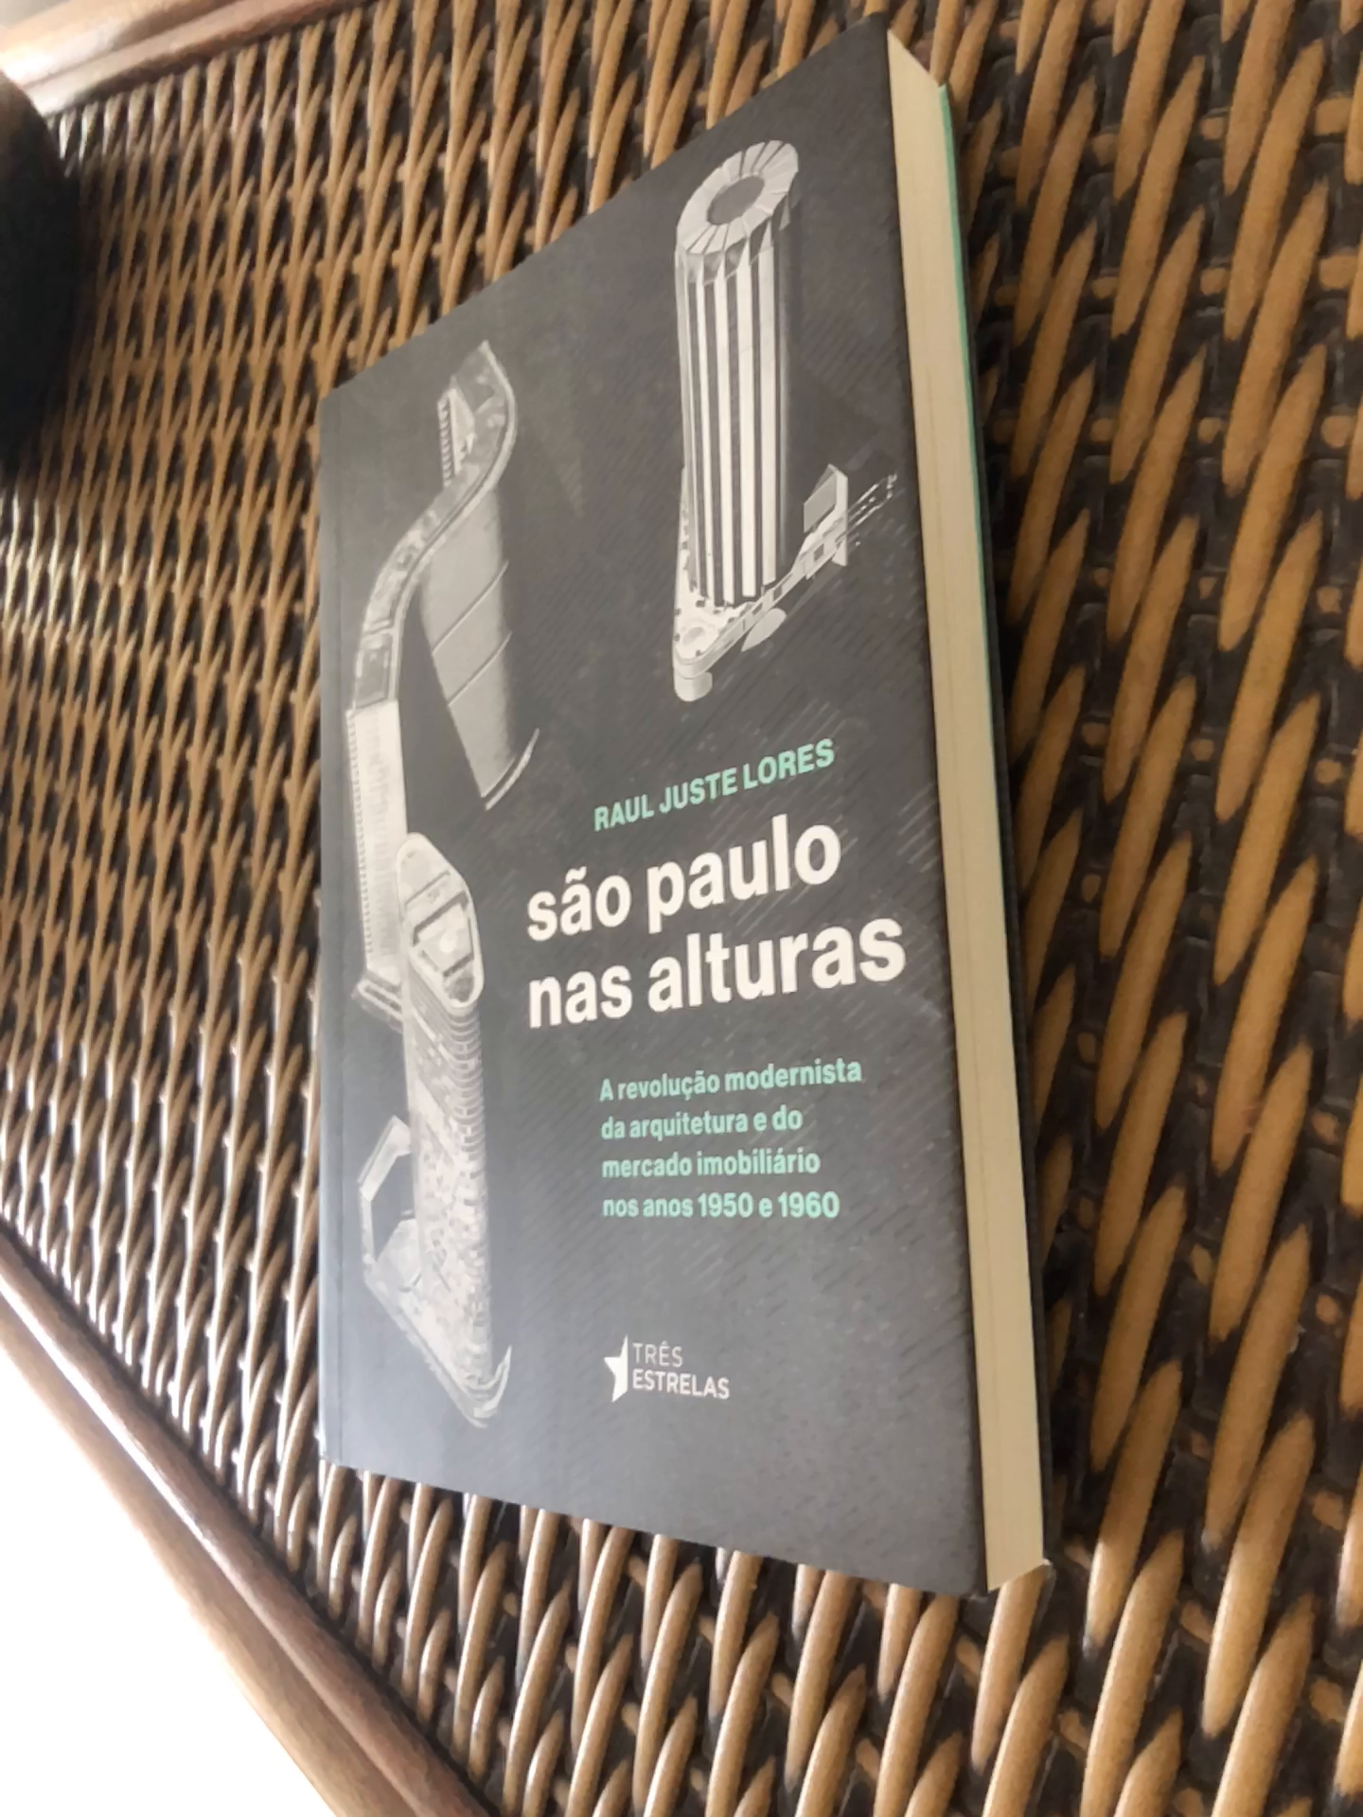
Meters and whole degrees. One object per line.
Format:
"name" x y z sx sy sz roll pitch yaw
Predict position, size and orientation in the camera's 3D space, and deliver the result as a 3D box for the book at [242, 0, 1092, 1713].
"book" -0.018 -0.008 0.255 0.161 0.030 0.221 -7 83 44
